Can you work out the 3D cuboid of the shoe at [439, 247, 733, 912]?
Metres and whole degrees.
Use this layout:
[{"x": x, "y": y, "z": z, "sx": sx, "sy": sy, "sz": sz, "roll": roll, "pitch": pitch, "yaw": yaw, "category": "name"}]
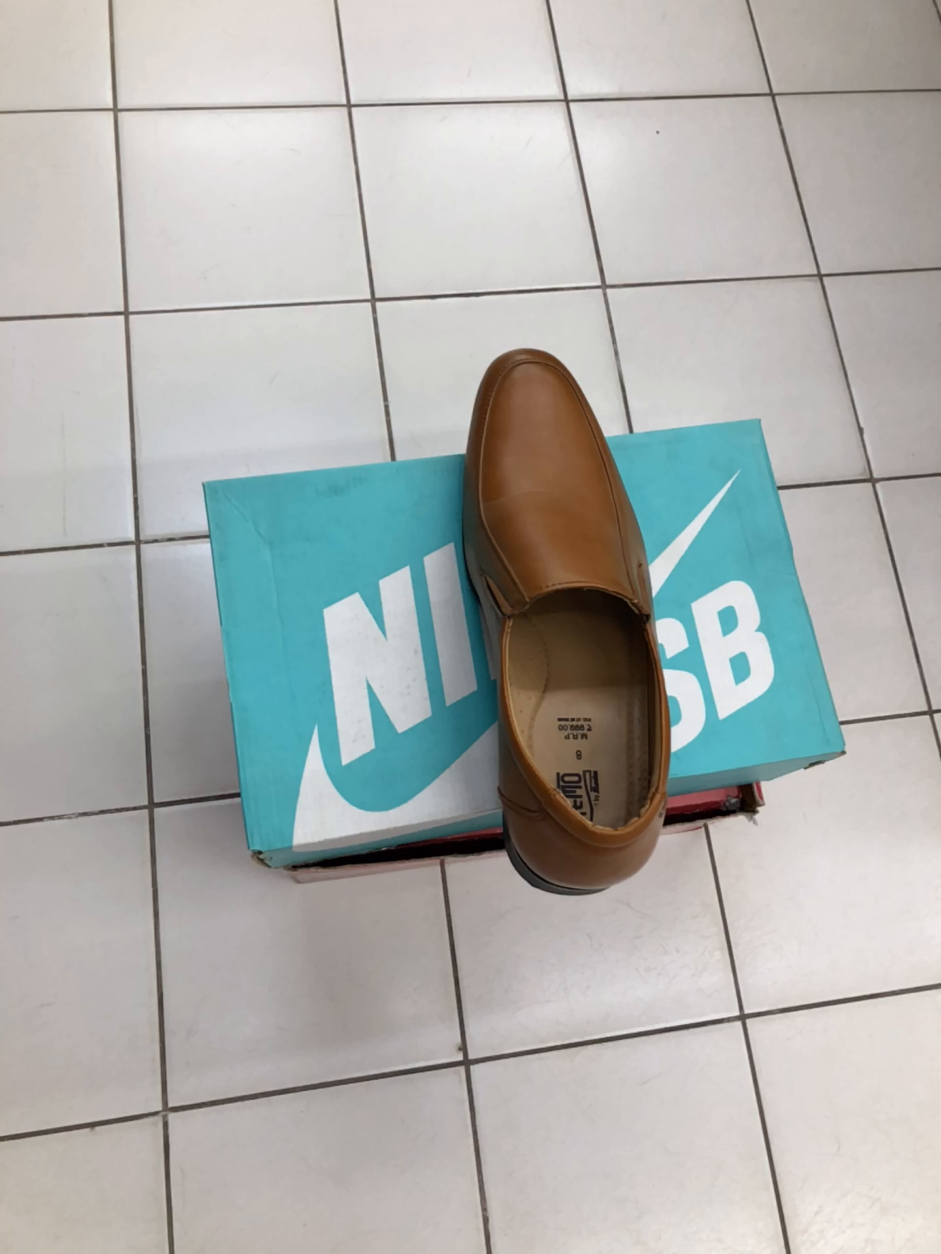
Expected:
[{"x": 0.045, "y": -0.024, "z": 0.514, "sx": 0.090, "sy": 0.100, "sz": 0.311, "roll": -3, "pitch": 73, "yaw": -7, "category": "shoe"}]
